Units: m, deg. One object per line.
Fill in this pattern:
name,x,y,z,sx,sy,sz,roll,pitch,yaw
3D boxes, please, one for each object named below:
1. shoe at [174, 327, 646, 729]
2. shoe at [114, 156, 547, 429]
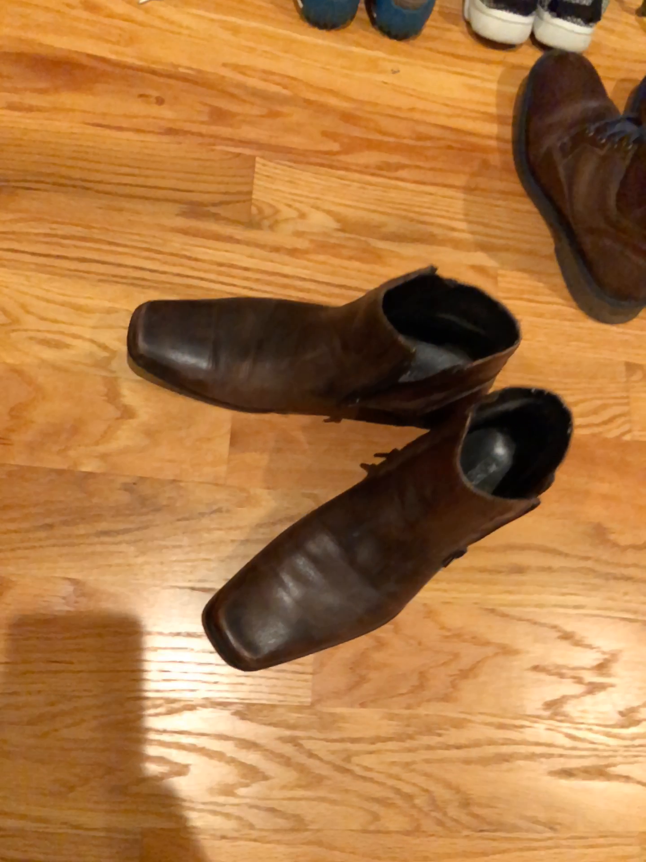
shoe,0.054,0.067,0.512,0.301,0.153,0.109,-30,81,-20
shoe,0.001,-0.093,0.550,0.290,0.143,0.109,7,70,-10
